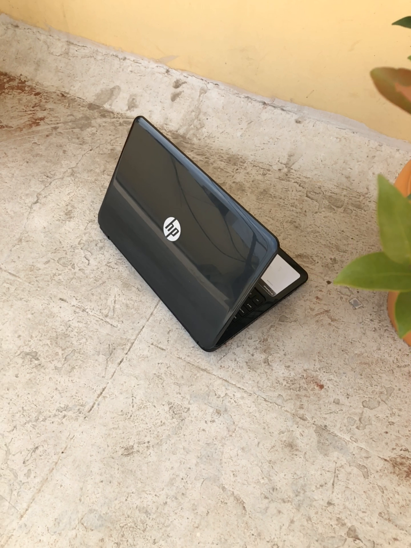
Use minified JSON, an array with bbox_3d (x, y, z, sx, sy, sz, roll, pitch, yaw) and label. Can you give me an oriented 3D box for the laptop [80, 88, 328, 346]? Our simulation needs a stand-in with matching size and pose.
[{"bbox_3d":[-0.016,-0.106,0.791,0.221,0.189,0.345,-35,64,-17],"label":"laptop"}]
